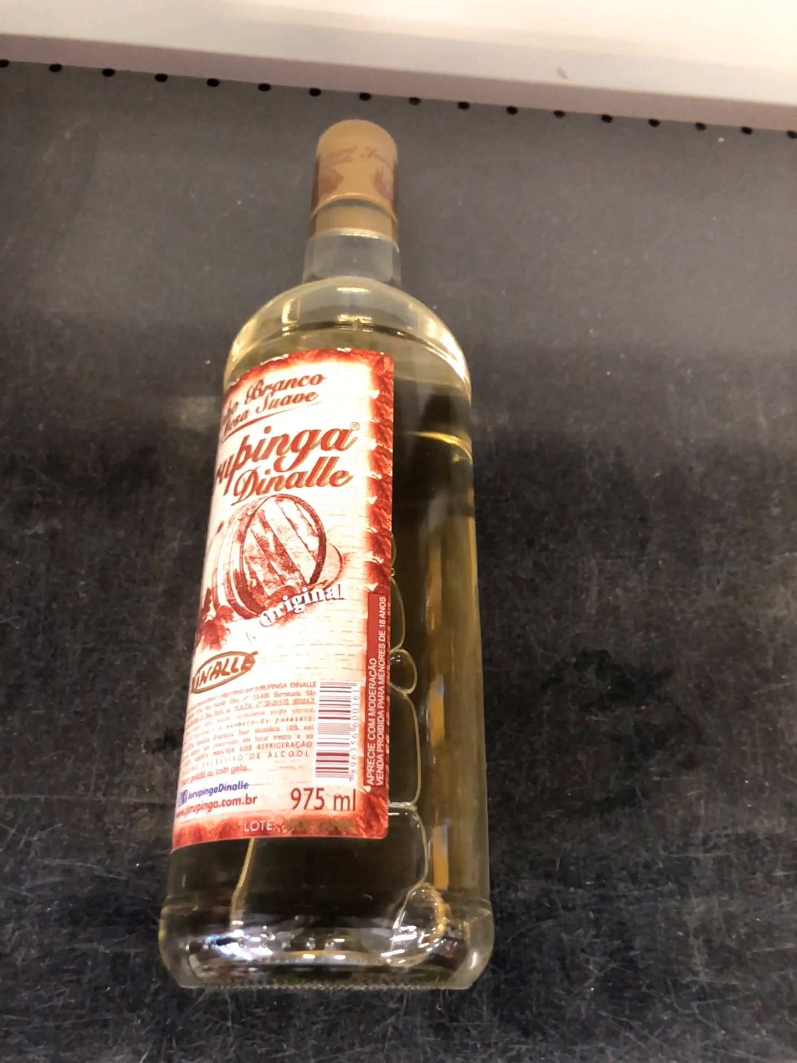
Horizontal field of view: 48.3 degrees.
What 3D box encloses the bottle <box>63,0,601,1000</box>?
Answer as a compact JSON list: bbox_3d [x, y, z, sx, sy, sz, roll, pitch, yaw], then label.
[{"bbox_3d":[-0.014,-0.027,0.277,0.100,0.080,0.301,20,58,-35],"label":"bottle"}]
